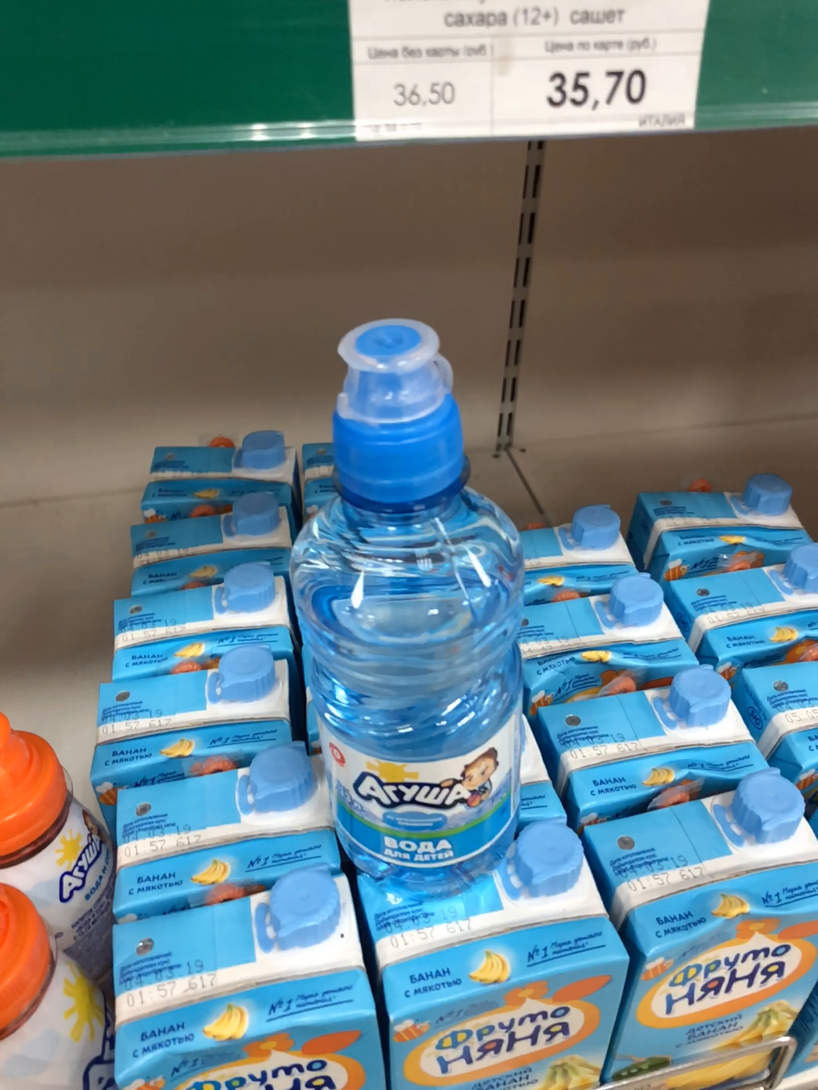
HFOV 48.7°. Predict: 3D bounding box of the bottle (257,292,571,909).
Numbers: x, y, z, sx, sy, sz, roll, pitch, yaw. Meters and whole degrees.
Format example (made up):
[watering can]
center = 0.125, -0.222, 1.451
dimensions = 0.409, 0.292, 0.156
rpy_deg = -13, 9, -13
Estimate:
[bottle]
center = 0.002, 0.026, 0.248
dimensions = 0.060, 0.173, 0.056
rpy_deg = -1, 39, 1
